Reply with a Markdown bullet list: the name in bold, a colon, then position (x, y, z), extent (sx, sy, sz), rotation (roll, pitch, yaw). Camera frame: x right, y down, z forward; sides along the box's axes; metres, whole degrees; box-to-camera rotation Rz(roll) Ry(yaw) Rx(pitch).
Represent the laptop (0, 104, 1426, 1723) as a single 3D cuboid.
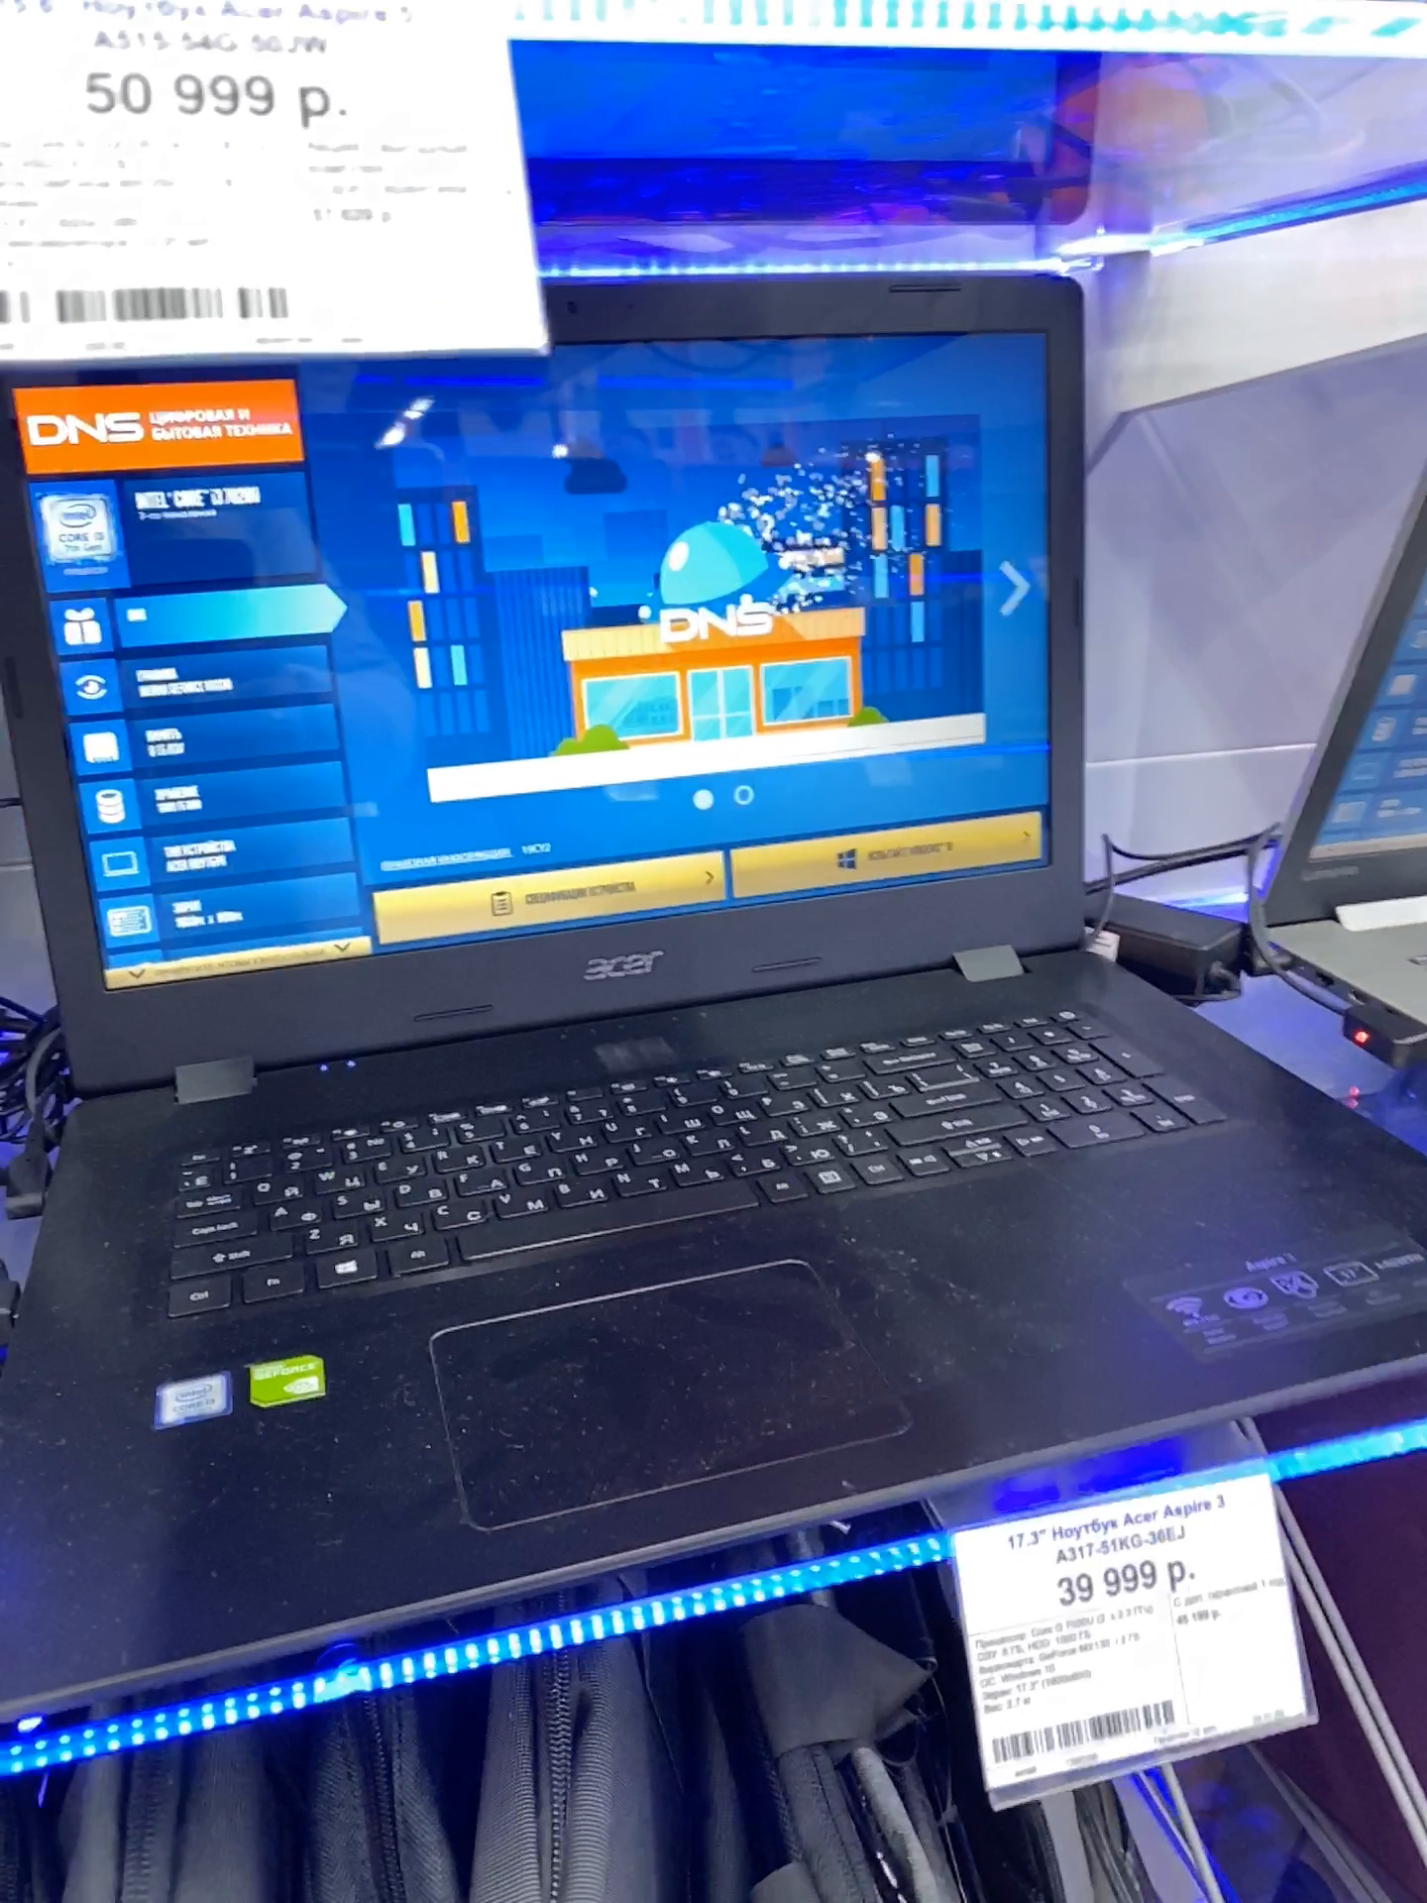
- **laptop**: position (0.000, -0.062, 0.436), extent (0.421, 0.273, 0.328), rotation (-7, 21, -15)
